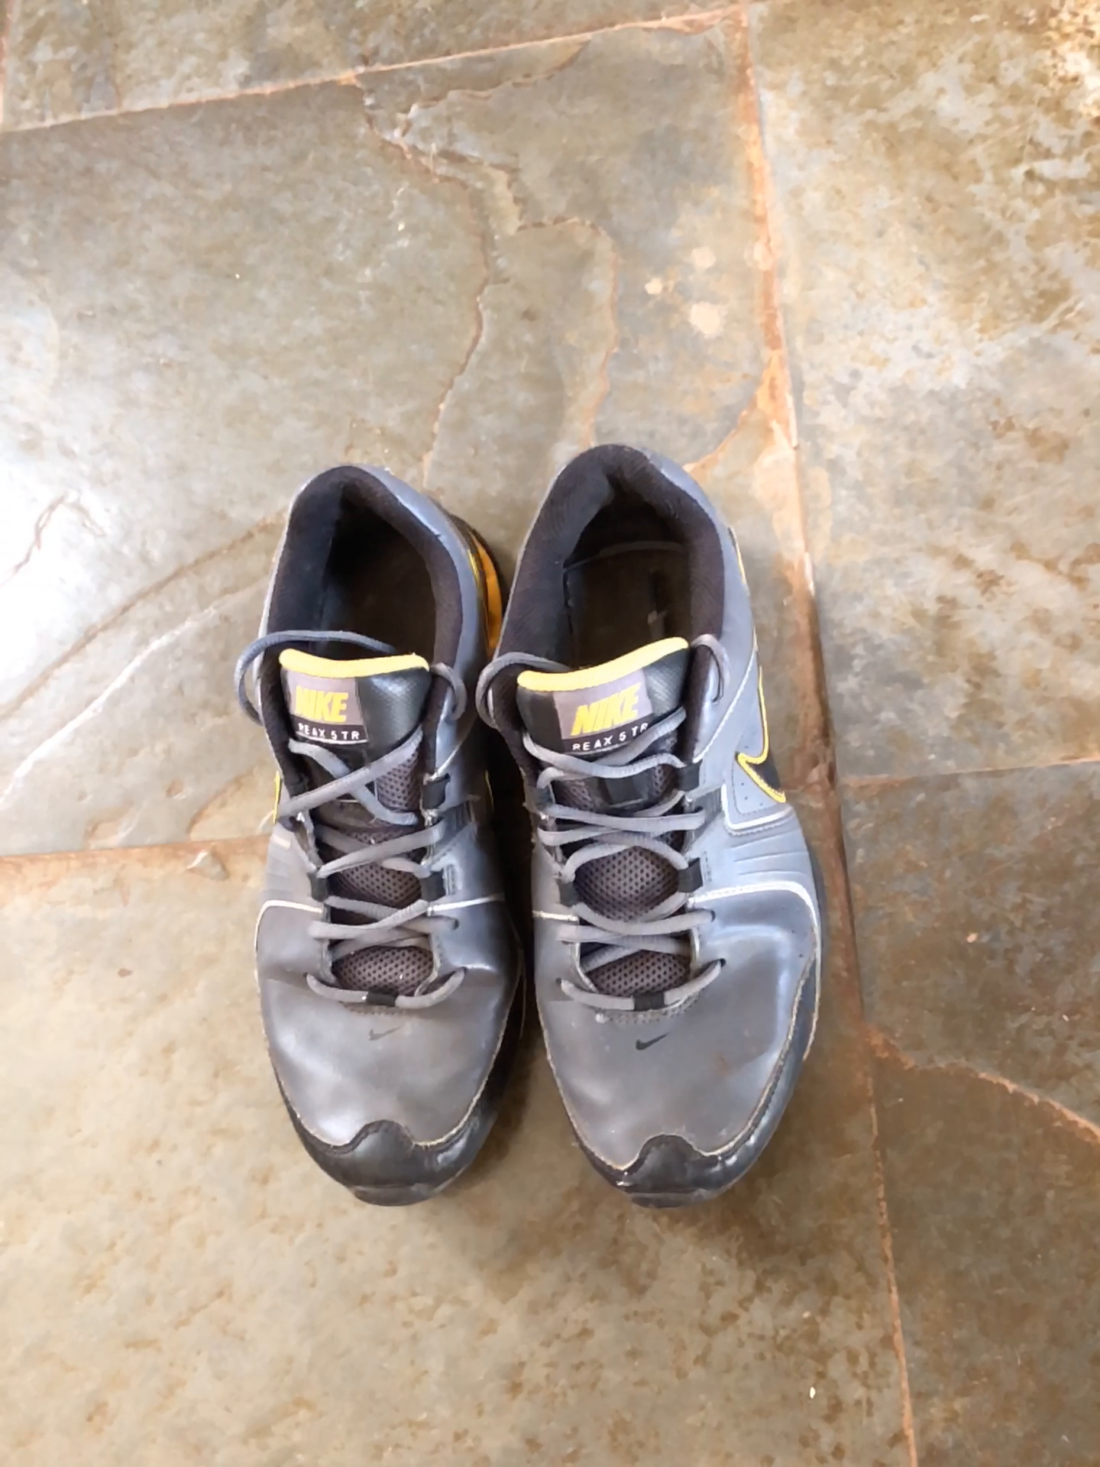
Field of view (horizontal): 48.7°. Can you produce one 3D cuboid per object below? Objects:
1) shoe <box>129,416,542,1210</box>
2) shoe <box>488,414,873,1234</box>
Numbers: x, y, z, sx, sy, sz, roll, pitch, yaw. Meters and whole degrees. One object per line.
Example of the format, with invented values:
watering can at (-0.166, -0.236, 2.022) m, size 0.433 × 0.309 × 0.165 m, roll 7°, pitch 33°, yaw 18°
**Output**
shoe at (-0.062, 0.029, 0.414) m, size 0.100 × 0.100 × 0.241 m, roll -4°, pitch 73°, yaw 8°
shoe at (0.039, 0.031, 0.403) m, size 0.100 × 0.100 × 0.241 m, roll -4°, pitch 73°, yaw 8°
